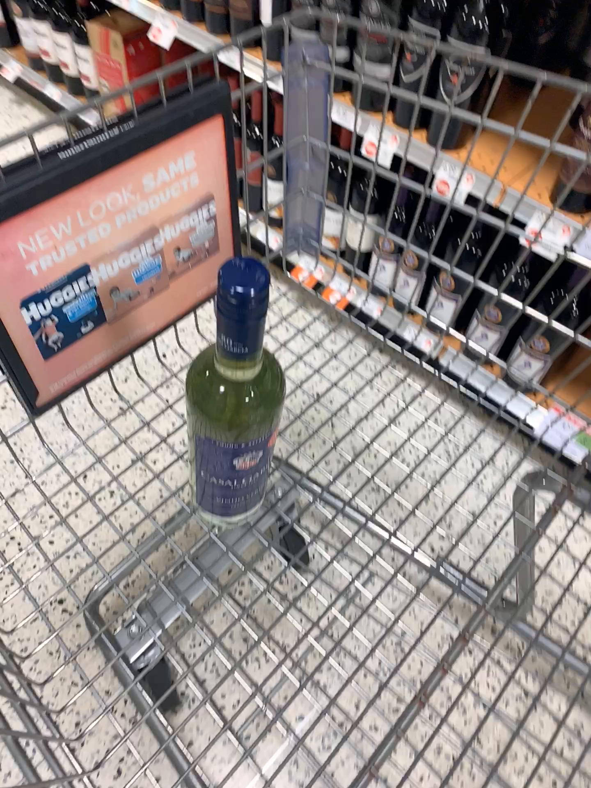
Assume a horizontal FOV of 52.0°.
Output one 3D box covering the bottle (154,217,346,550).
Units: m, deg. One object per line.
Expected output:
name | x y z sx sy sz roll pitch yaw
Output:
bottle | -0.043 0.011 0.475 0.090 0.278 0.080 -20 57 -22
